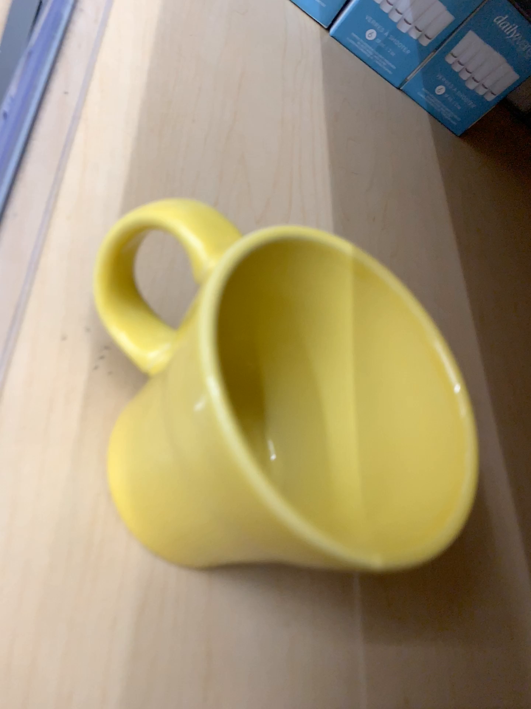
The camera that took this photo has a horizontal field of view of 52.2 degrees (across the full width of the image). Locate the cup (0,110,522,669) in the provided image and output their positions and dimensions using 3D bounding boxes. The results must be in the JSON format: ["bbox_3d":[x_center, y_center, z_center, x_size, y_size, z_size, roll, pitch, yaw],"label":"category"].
[{"bbox_3d":[-0.002,0.012,0.189,0.139,0.088,0.104,50,45,-5],"label":"cup"}]
